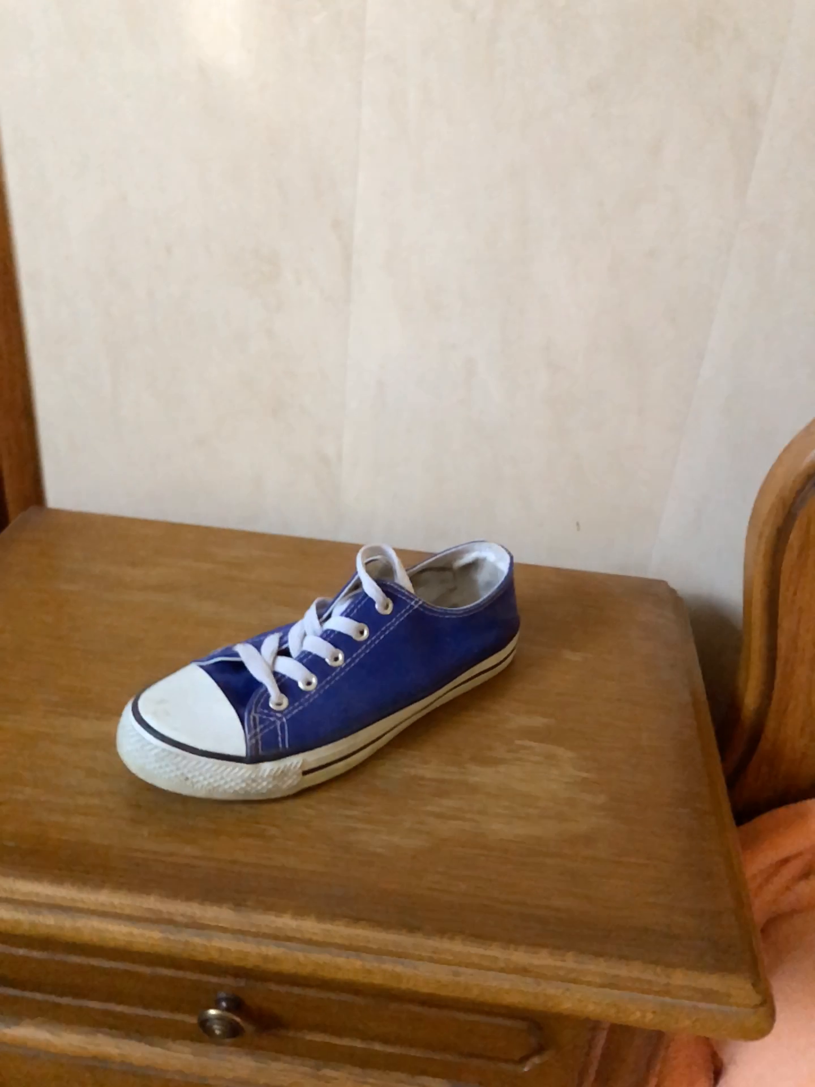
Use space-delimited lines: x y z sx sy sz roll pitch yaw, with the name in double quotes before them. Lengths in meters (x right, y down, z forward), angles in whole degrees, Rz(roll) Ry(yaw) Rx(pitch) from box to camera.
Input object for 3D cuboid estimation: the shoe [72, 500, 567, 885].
"shoe" -0.038 0.066 0.506 0.261 0.089 0.090 -20 39 -36
